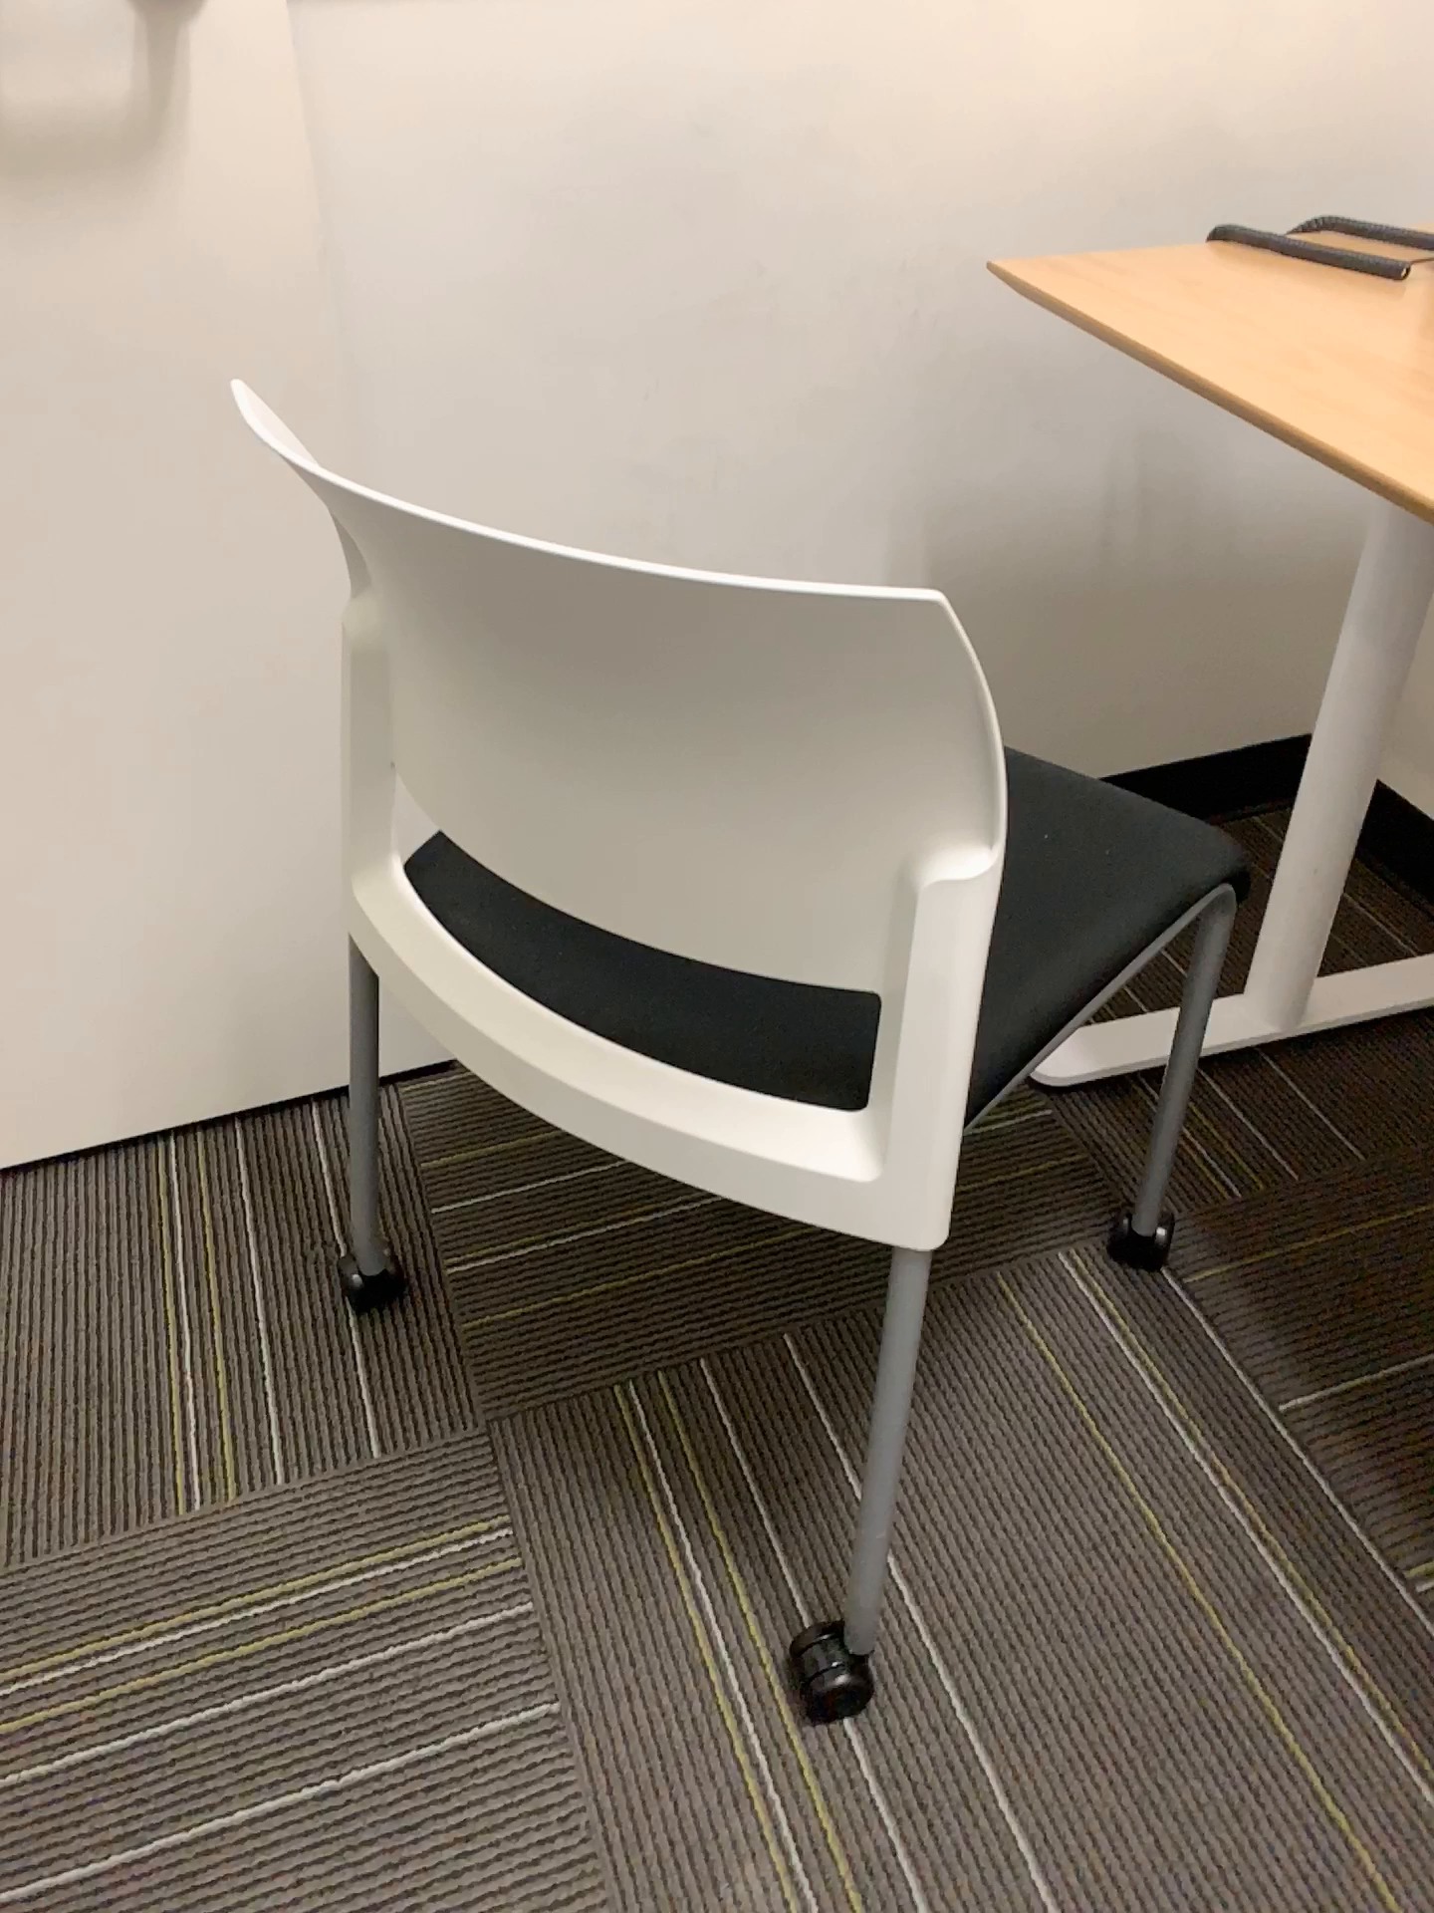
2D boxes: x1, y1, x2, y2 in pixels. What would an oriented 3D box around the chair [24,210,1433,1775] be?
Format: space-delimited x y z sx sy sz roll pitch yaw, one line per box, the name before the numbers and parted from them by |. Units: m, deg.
chair | 0.038 -0.030 1.049 0.612 0.755 0.581 29 47 33
